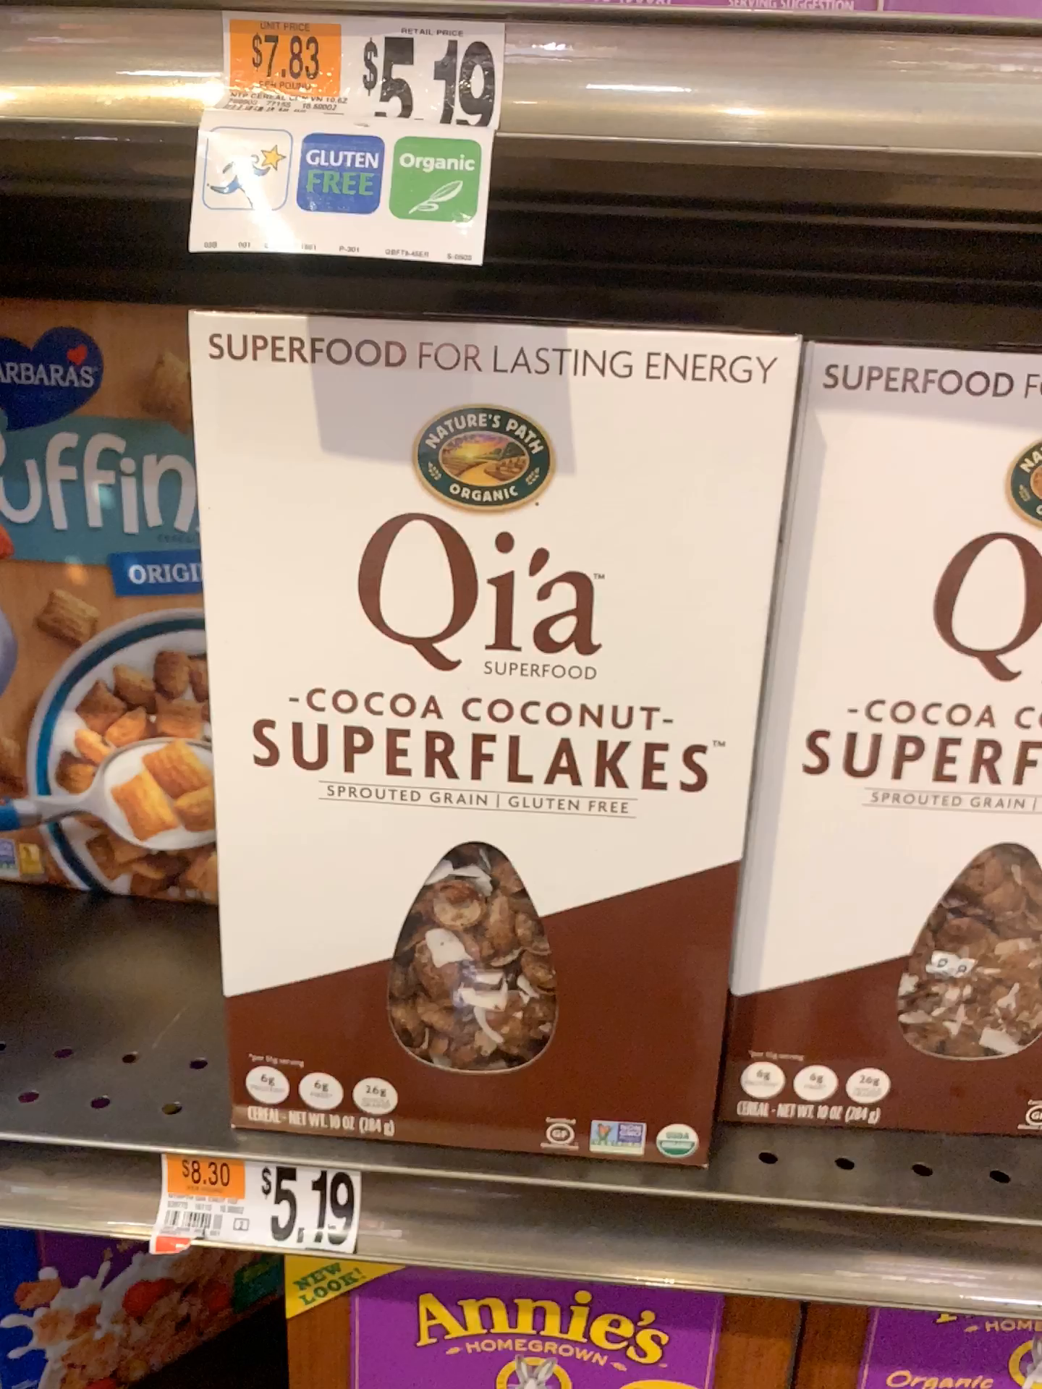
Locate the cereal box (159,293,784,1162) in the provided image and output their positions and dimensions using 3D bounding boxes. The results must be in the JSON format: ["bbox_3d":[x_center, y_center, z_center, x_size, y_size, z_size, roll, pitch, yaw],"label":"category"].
[{"bbox_3d":[-0.017,0.015,0.344,0.160,0.259,0.060,3,18,2],"label":"cereal box"}]
